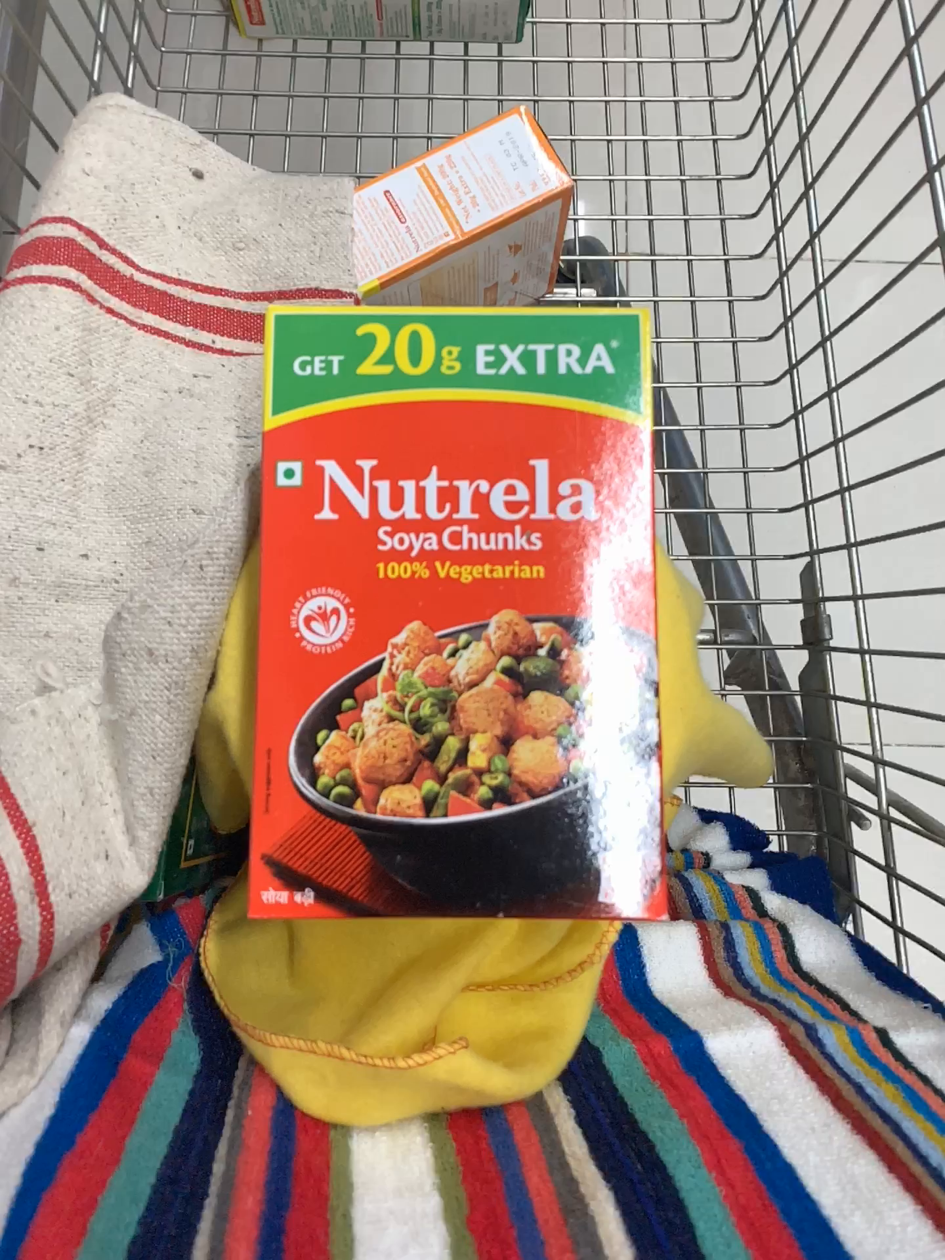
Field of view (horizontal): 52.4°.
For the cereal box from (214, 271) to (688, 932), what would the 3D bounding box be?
[{"bbox_3d":[-0.006,-0.008,0.287,0.120,0.060,0.180,0,81,-1],"label":"cereal box"}]
